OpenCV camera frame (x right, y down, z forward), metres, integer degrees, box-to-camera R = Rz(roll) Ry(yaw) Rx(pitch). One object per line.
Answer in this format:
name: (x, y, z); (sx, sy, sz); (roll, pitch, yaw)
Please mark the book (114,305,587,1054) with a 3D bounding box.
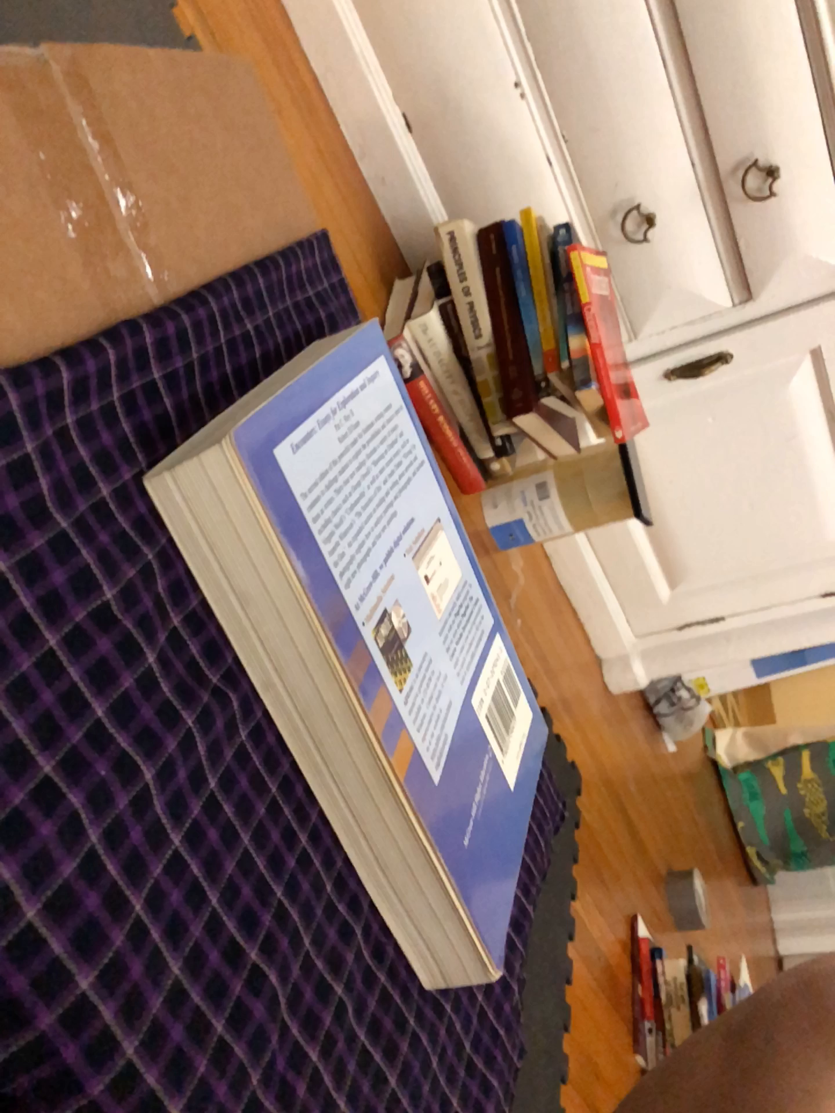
book: (0.001, 0.040, 0.375); (0.240, 0.040, 0.181); (65, 25, -21)
